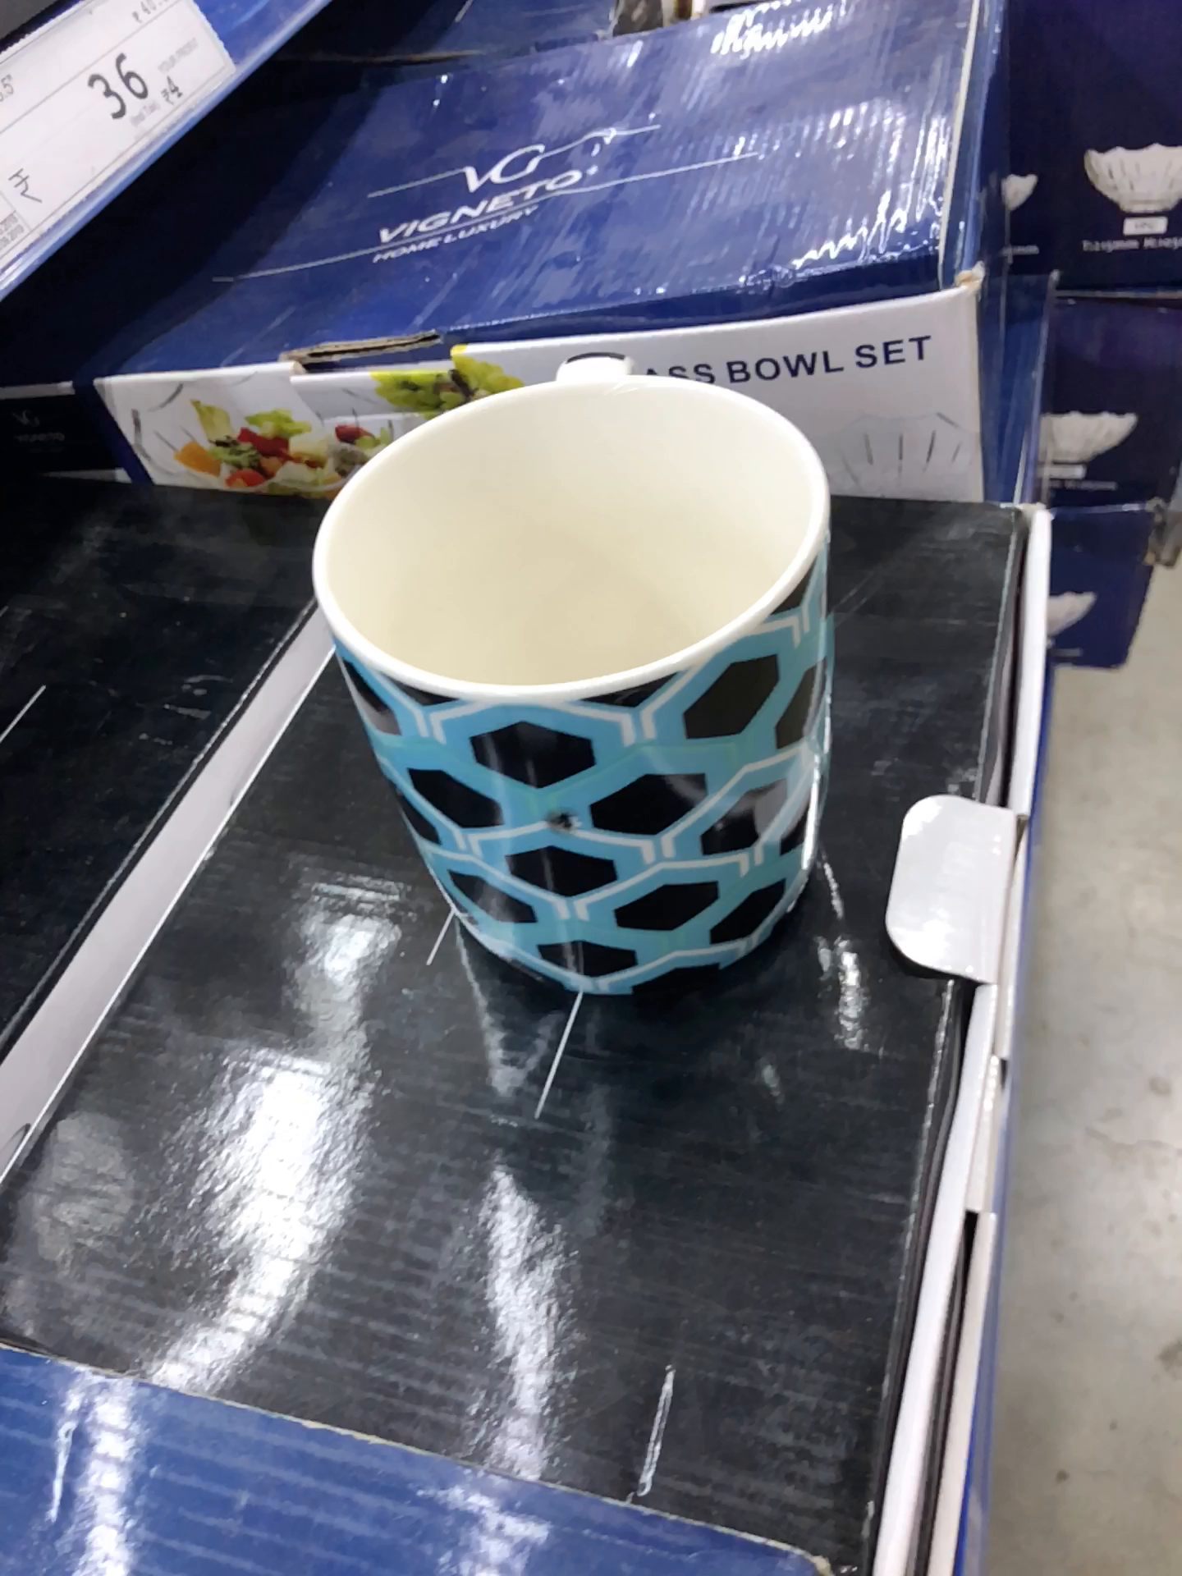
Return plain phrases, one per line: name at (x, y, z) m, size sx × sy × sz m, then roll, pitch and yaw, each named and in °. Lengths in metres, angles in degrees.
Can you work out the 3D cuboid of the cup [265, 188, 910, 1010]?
cup at (0.009, -0.038, 0.259) m, size 0.090 × 0.090 × 0.131 m, roll -4°, pitch 47°, yaw 9°
